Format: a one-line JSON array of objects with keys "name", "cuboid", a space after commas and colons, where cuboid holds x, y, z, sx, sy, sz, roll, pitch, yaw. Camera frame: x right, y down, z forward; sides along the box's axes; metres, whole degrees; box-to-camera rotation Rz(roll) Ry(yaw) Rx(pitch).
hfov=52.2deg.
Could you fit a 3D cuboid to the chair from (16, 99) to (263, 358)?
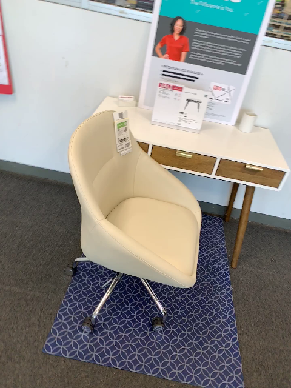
[{"name": "chair", "cuboid": [-0.030, 0.120, 1.295, 0.690, 0.736, 0.674, 12, 35, 1]}]
